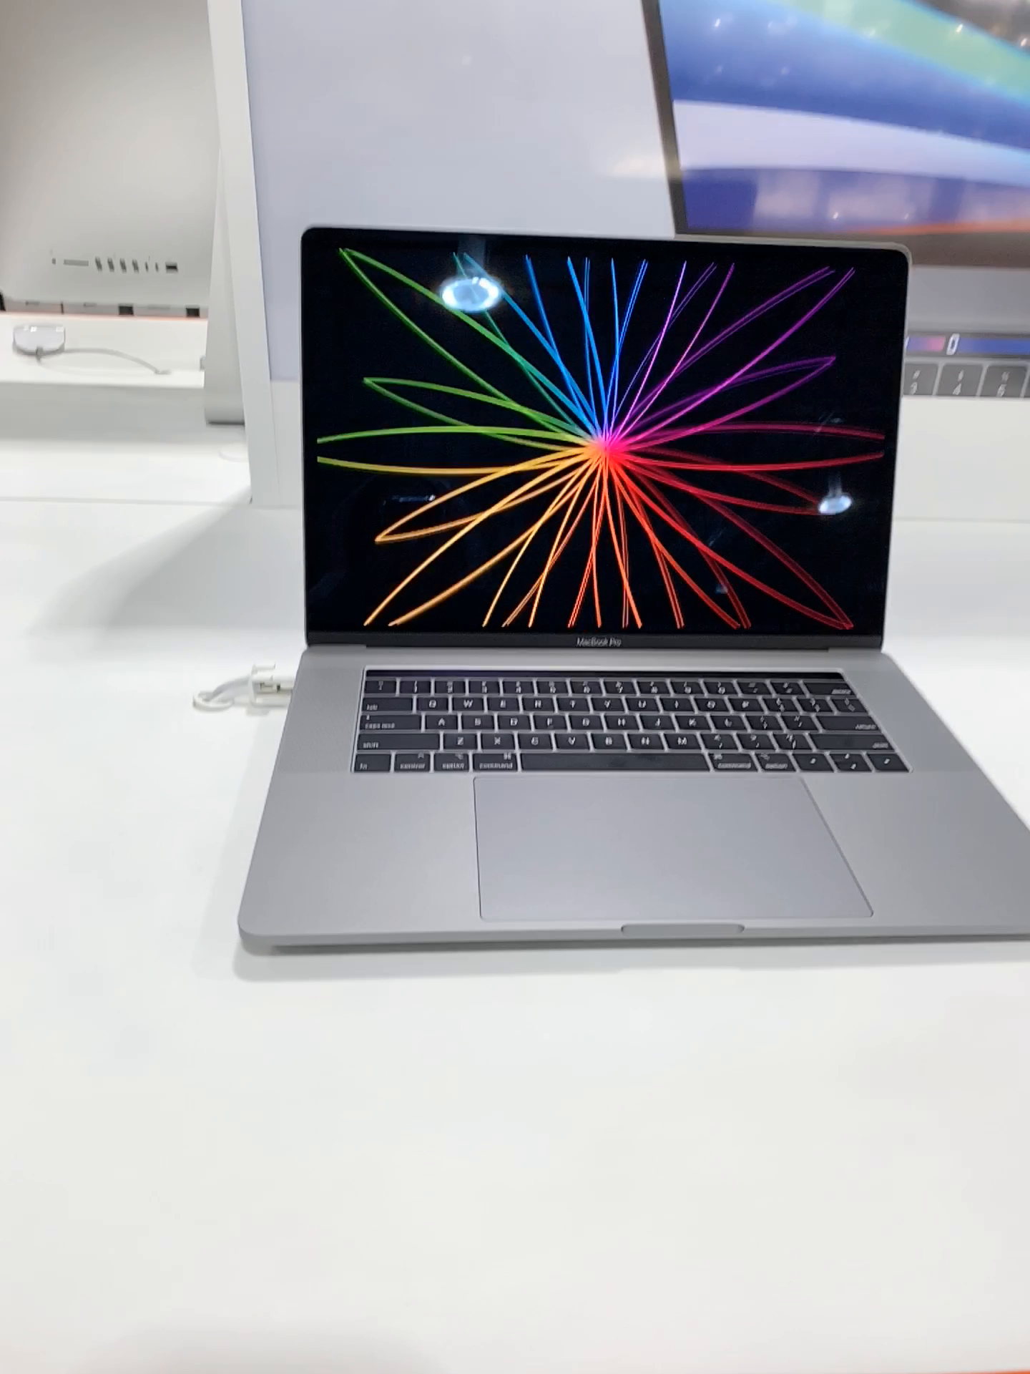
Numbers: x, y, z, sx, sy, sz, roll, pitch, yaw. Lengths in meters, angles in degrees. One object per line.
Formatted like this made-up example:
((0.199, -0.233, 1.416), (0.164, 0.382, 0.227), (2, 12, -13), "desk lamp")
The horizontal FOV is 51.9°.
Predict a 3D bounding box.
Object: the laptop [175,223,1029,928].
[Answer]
((0.058, -0.074, 0.482), (0.330, 0.205, 0.304), (1, 29, -5), "laptop")
